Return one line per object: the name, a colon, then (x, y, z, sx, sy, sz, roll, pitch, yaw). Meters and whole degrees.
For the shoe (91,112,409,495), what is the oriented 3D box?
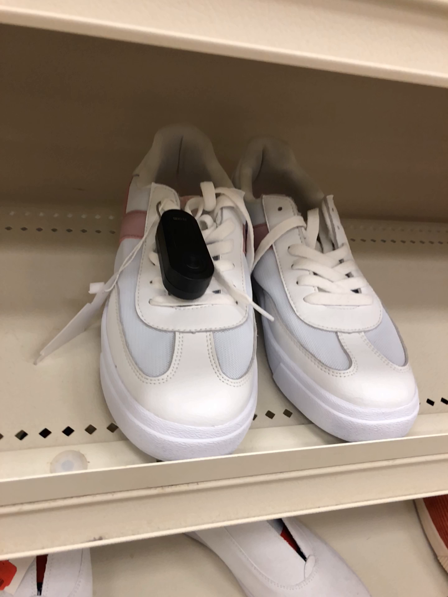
shoe: (-0.032, -0.052, 0.379, 0.120, 0.119, 0.393, 1, 25, -14)

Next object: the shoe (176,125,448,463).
shoe: (0.063, -0.054, 0.423, 0.120, 0.119, 0.393, -1, 26, -18)
